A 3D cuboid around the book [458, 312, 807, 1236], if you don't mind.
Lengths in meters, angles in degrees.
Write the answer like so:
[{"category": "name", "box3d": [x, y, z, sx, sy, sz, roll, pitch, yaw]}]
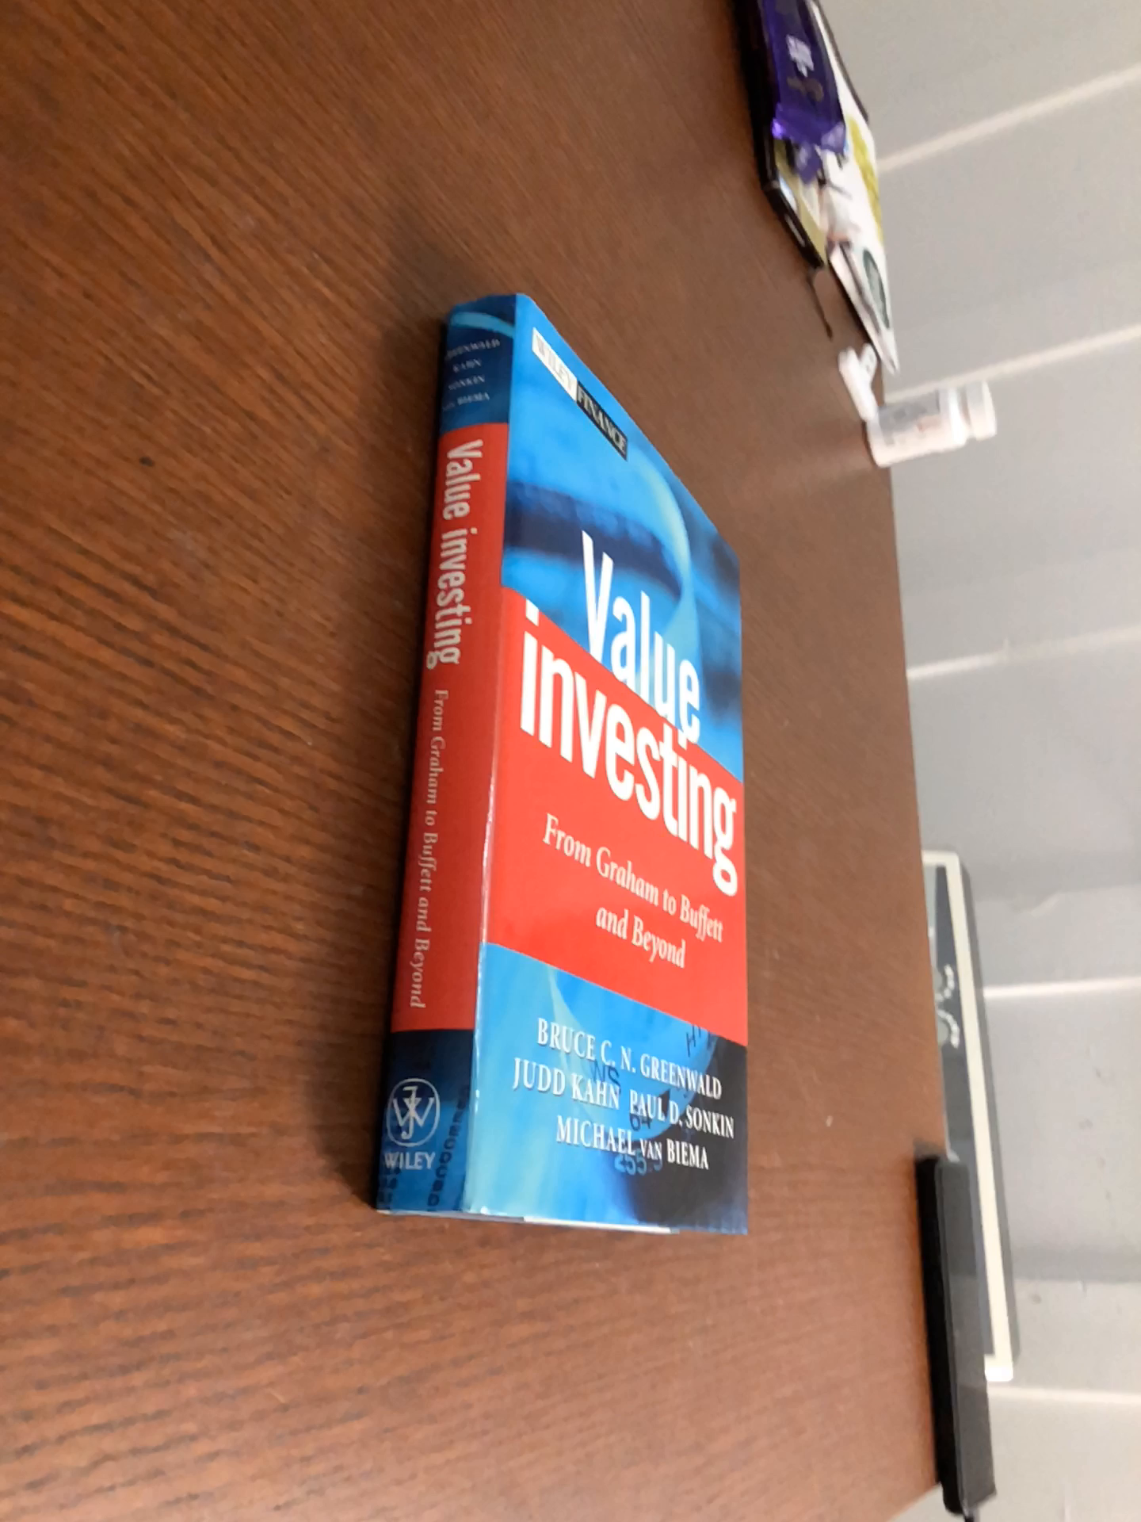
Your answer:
[{"category": "book", "box3d": [0.030, 0.015, 0.376, 0.171, 0.020, 0.230, 37, 50, -54]}]
